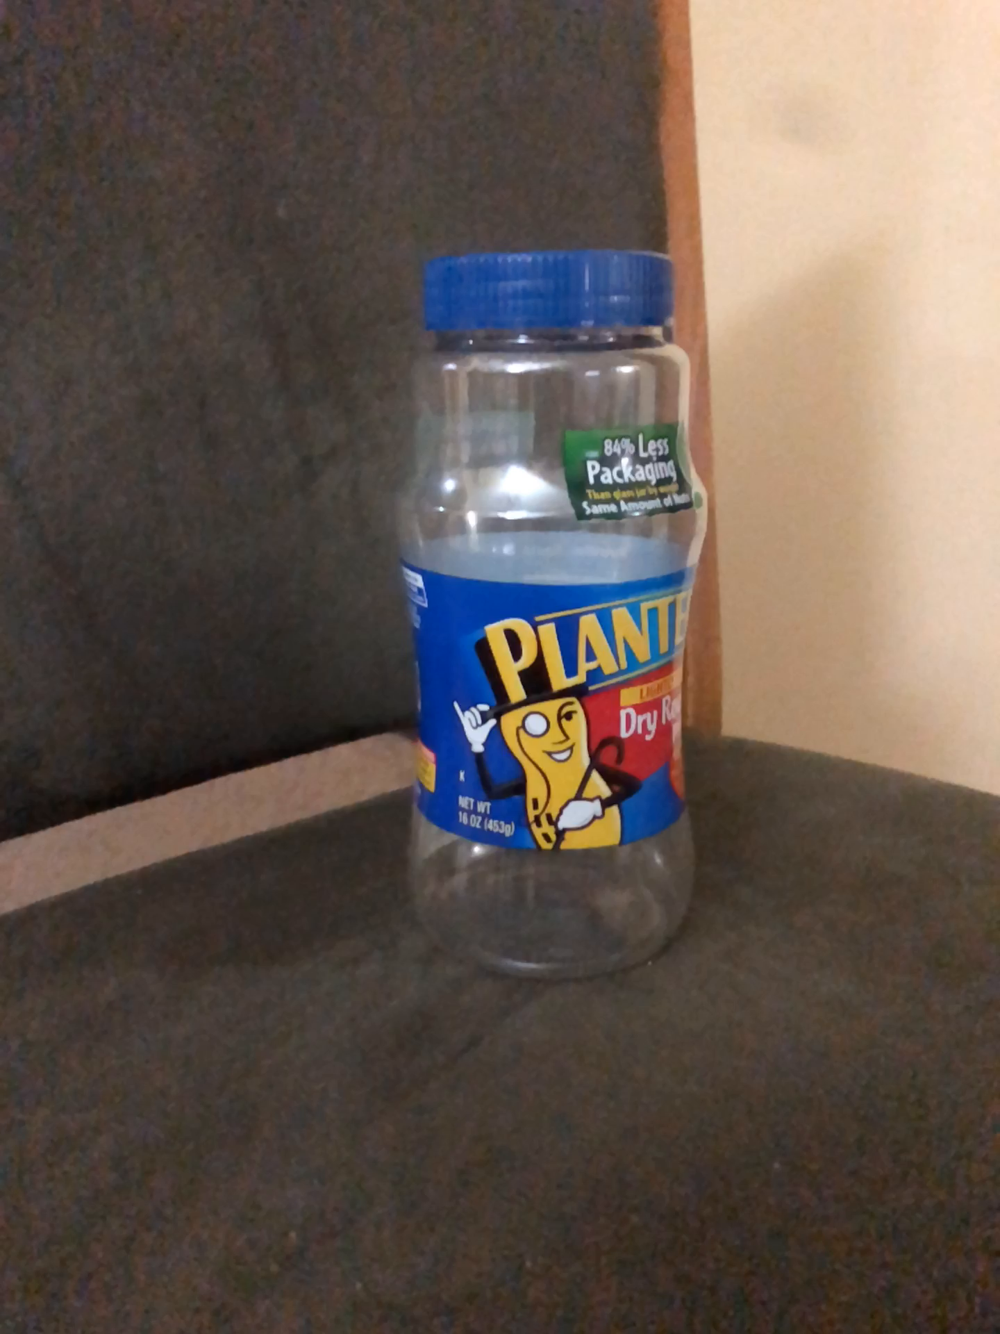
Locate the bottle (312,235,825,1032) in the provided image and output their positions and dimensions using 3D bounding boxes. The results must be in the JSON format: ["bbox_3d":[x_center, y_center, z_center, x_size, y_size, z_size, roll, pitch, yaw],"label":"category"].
[{"bbox_3d":[0.015,-0.015,0.285,0.090,0.170,0.080,-11,20,-33],"label":"bottle"}]
